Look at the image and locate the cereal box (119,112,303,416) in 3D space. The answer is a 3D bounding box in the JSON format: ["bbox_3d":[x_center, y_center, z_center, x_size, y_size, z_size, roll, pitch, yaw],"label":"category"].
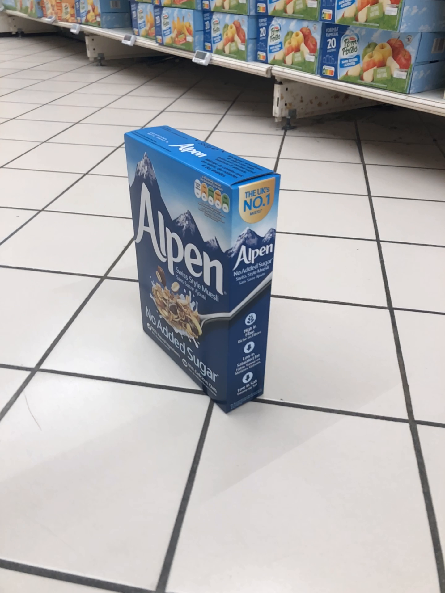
[{"bbox_3d":[-0.019,-0.036,0.466,0.060,0.229,0.180,-21,39,-30],"label":"cereal box"}]
